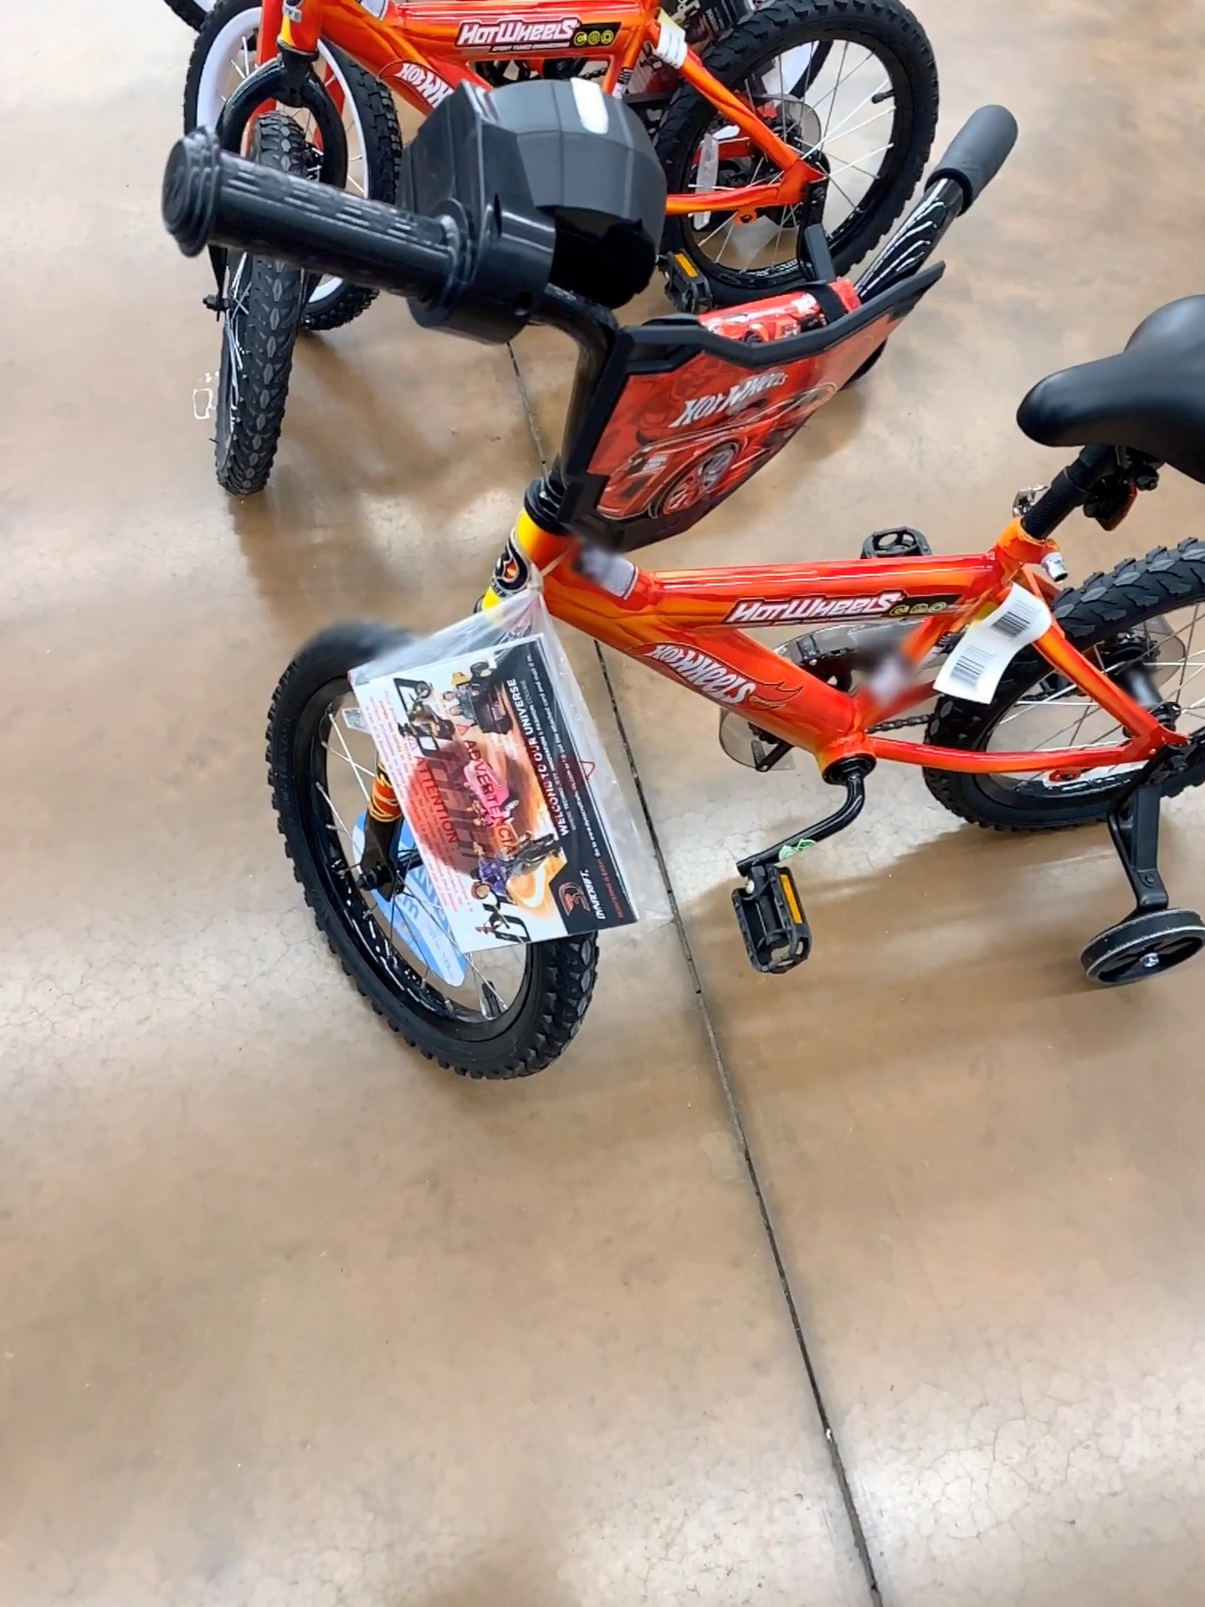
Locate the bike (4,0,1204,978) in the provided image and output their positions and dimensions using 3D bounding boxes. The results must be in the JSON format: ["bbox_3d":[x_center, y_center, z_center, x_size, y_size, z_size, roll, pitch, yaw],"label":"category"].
[{"bbox_3d":[0.167,-0.268,1.032,0.994,0.822,0.504,-6,58,1],"label":"bike"}]
